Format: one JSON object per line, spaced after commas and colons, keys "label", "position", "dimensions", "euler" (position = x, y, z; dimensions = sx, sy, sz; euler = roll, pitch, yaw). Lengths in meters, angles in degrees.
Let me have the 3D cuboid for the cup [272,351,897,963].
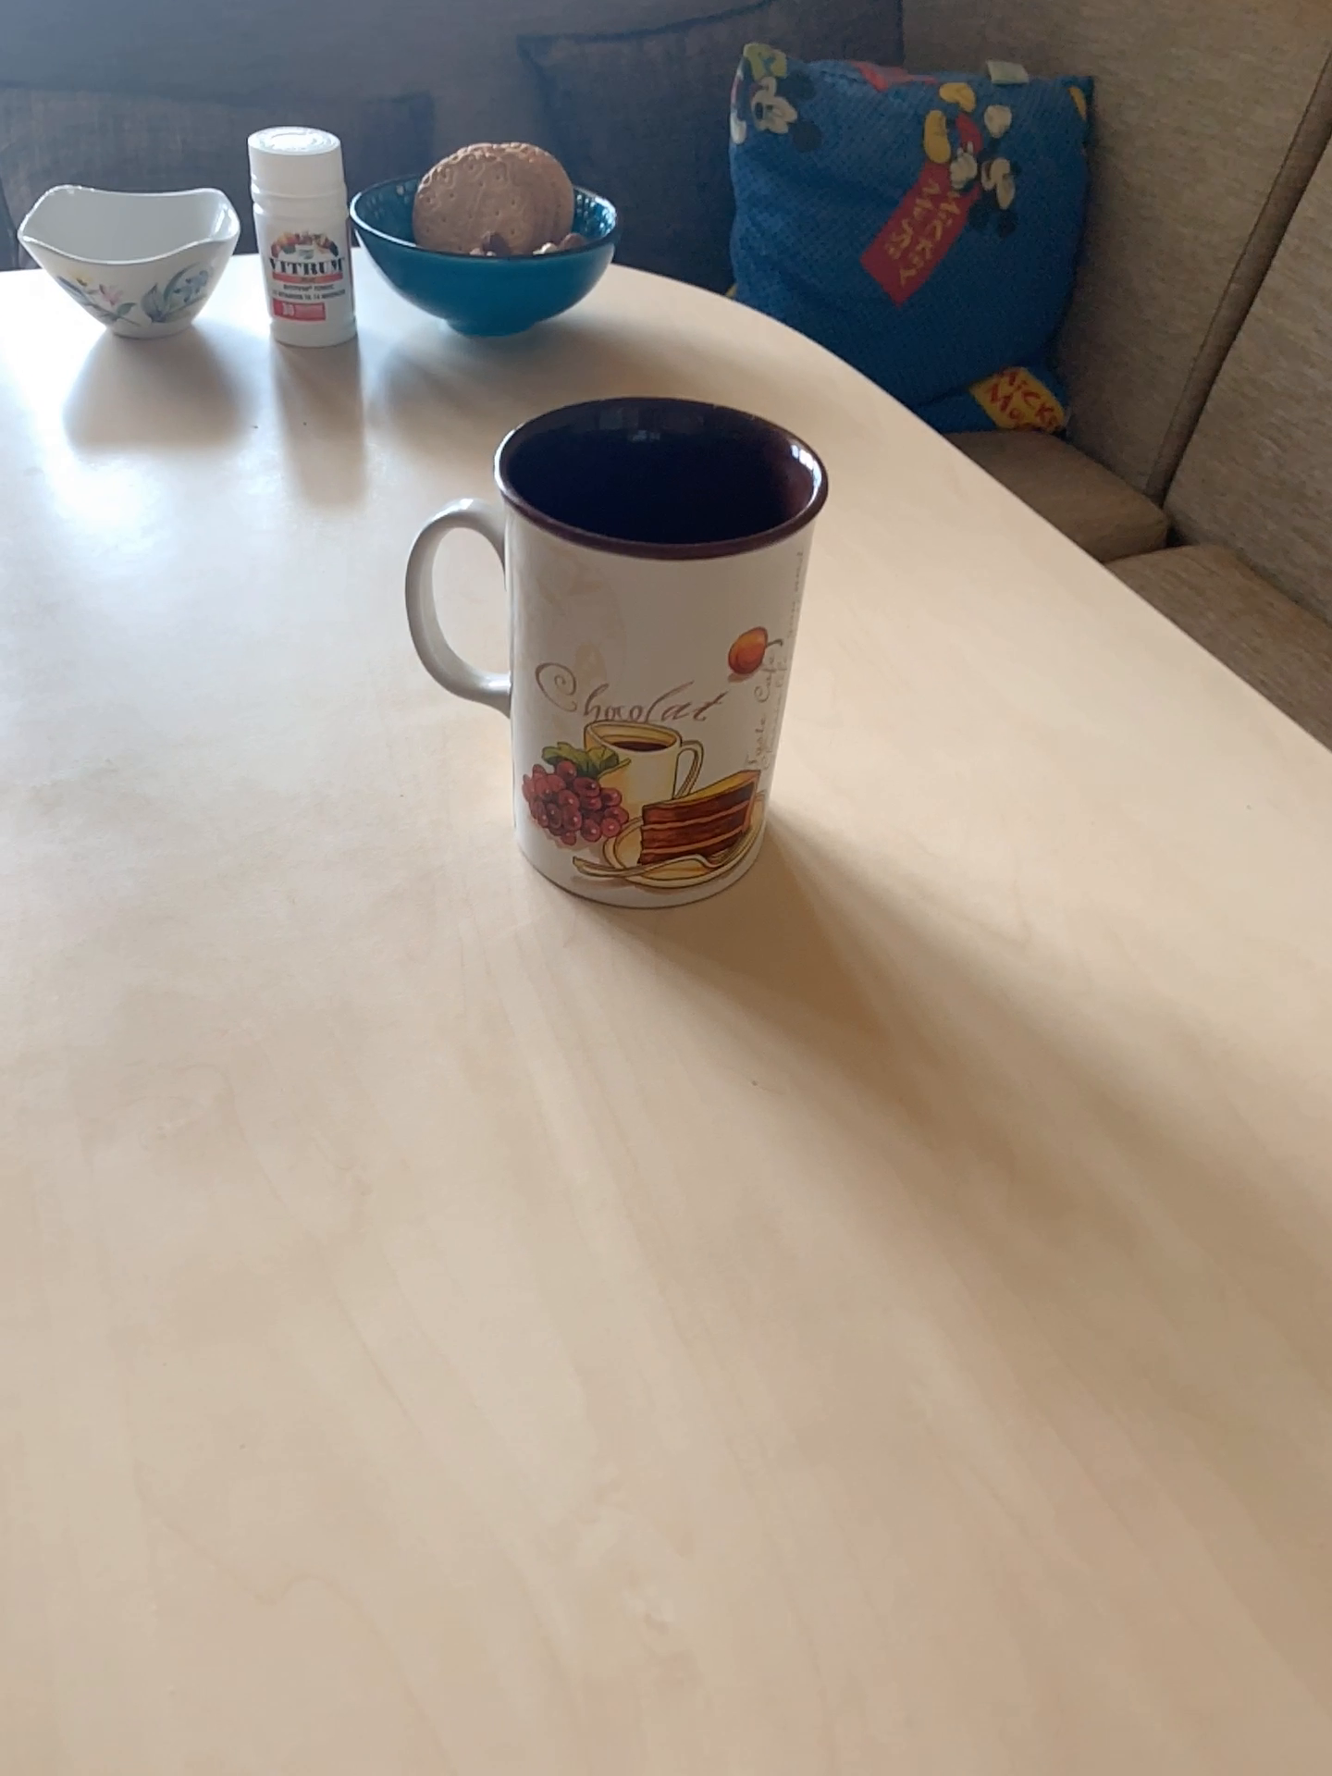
{"label": "cup", "position": [-0.018, -0.064, 0.369], "dimensions": [0.130, 0.109, 0.090], "euler": [13, 42, 9]}
